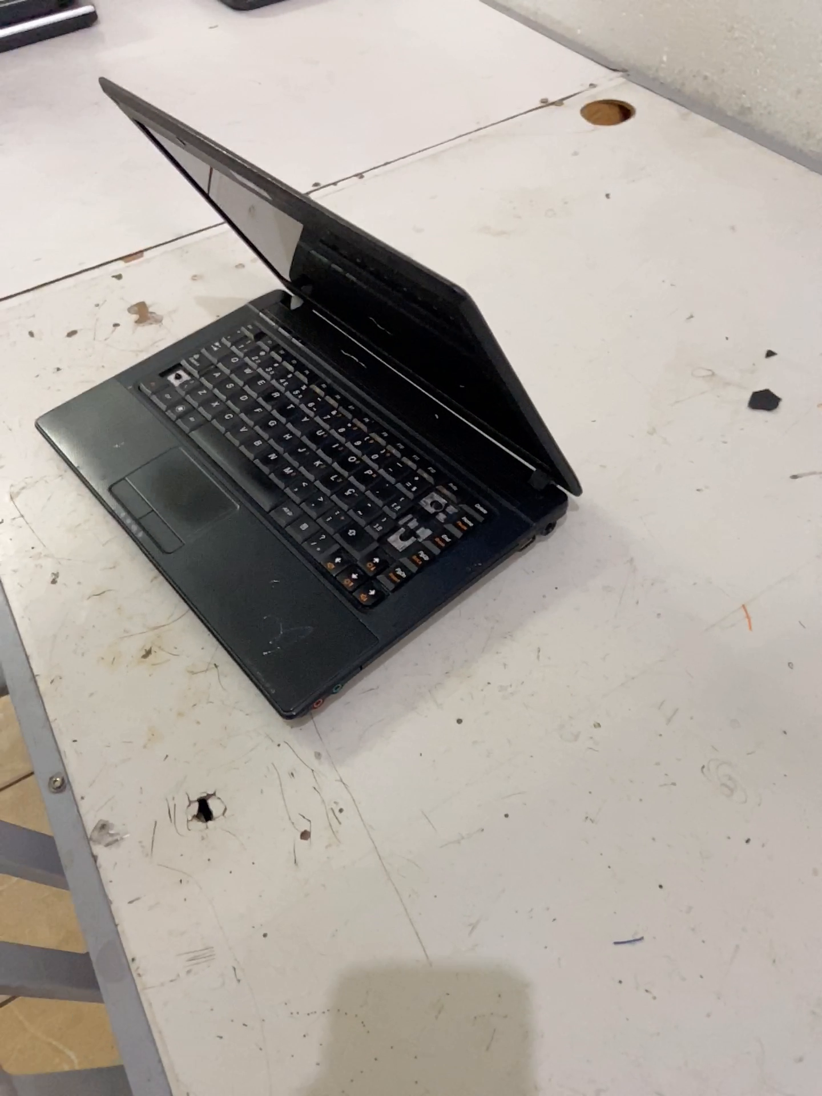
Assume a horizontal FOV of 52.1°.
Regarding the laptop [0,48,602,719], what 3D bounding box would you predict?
[{"bbox_3d":[-0.098,-0.120,0.513,0.223,0.194,0.334,-36,56,-20],"label":"laptop"}]
